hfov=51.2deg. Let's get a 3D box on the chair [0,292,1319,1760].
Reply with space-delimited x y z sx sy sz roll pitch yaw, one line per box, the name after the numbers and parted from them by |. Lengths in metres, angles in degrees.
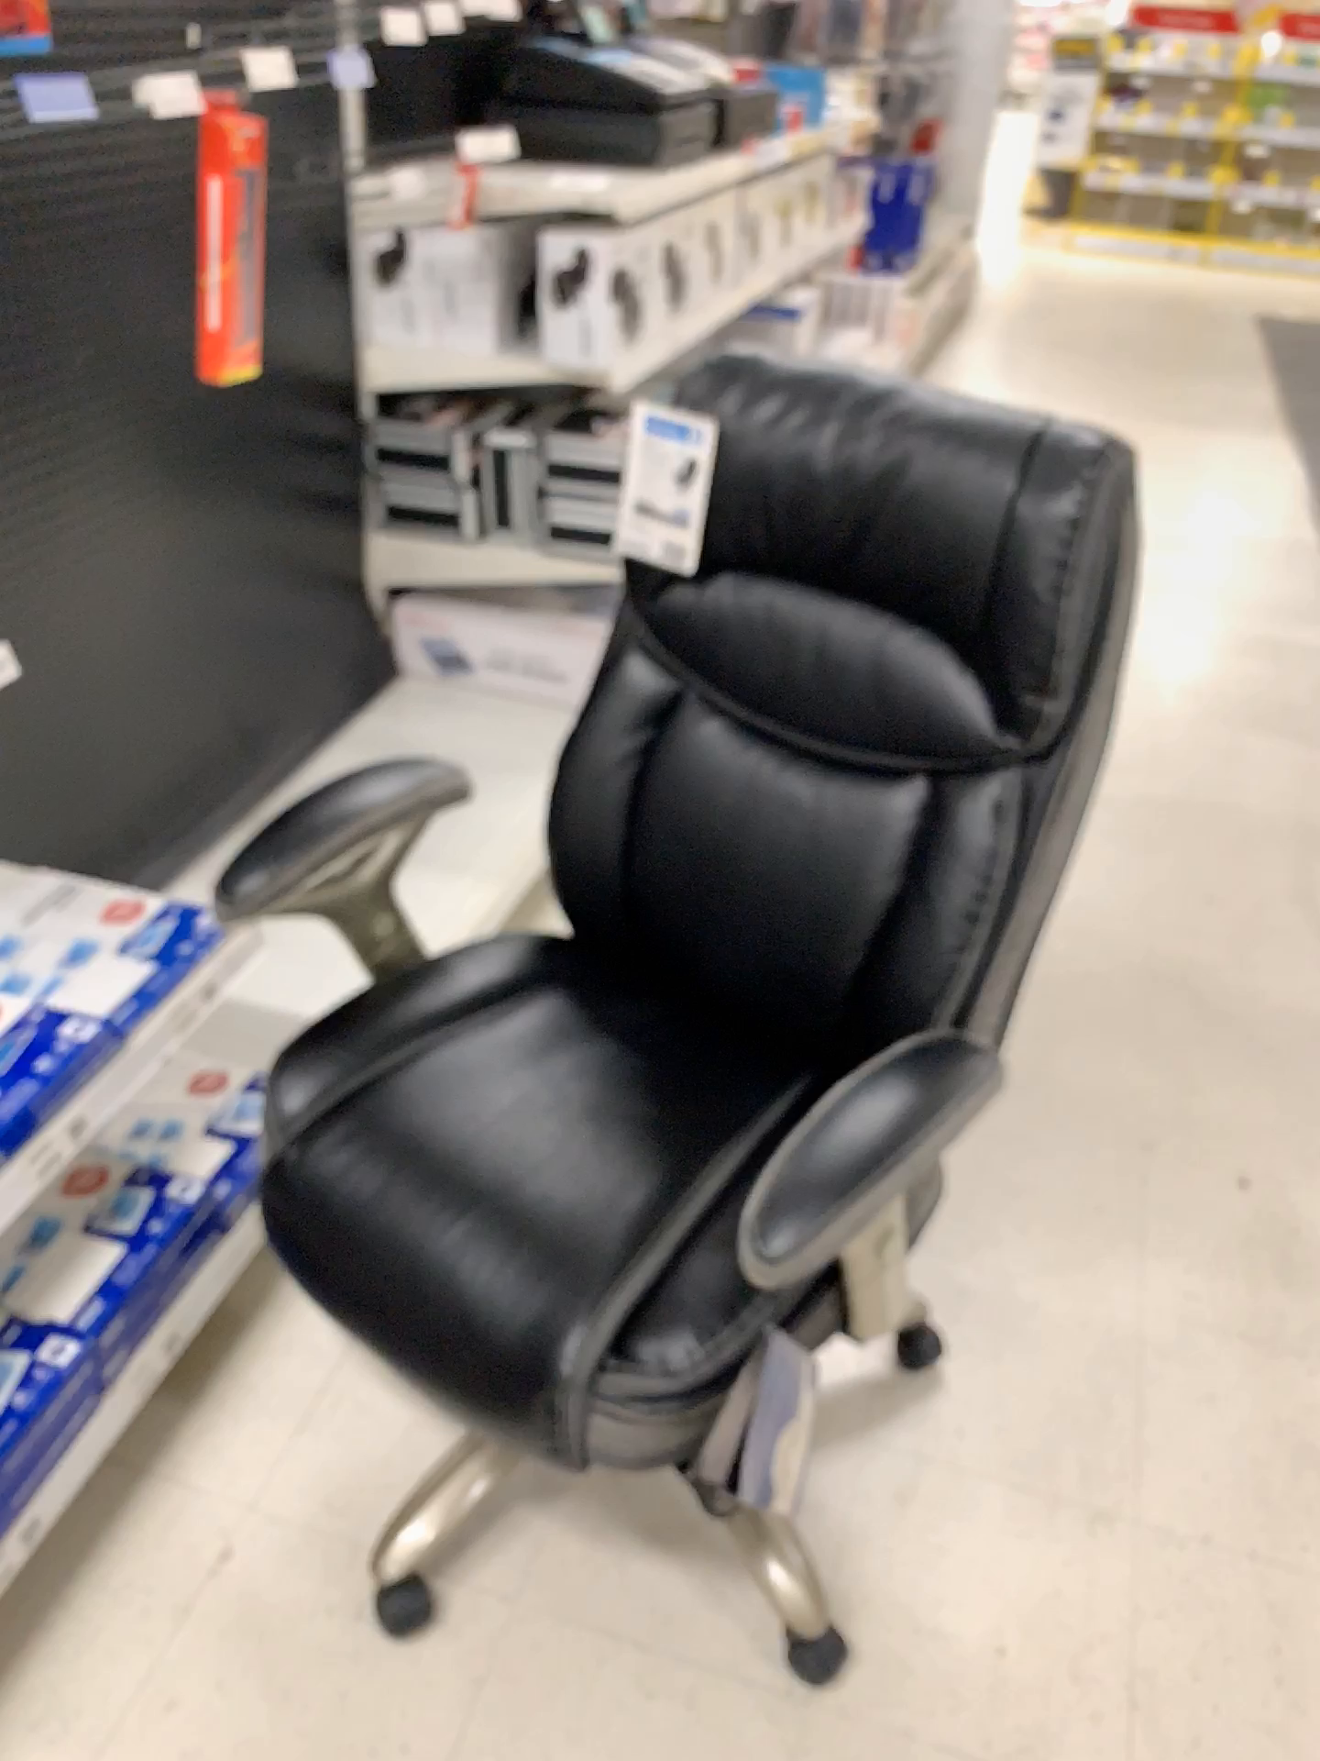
-0.017 0.135 1.293 0.742 1.094 0.742 25 38 29 | chair
